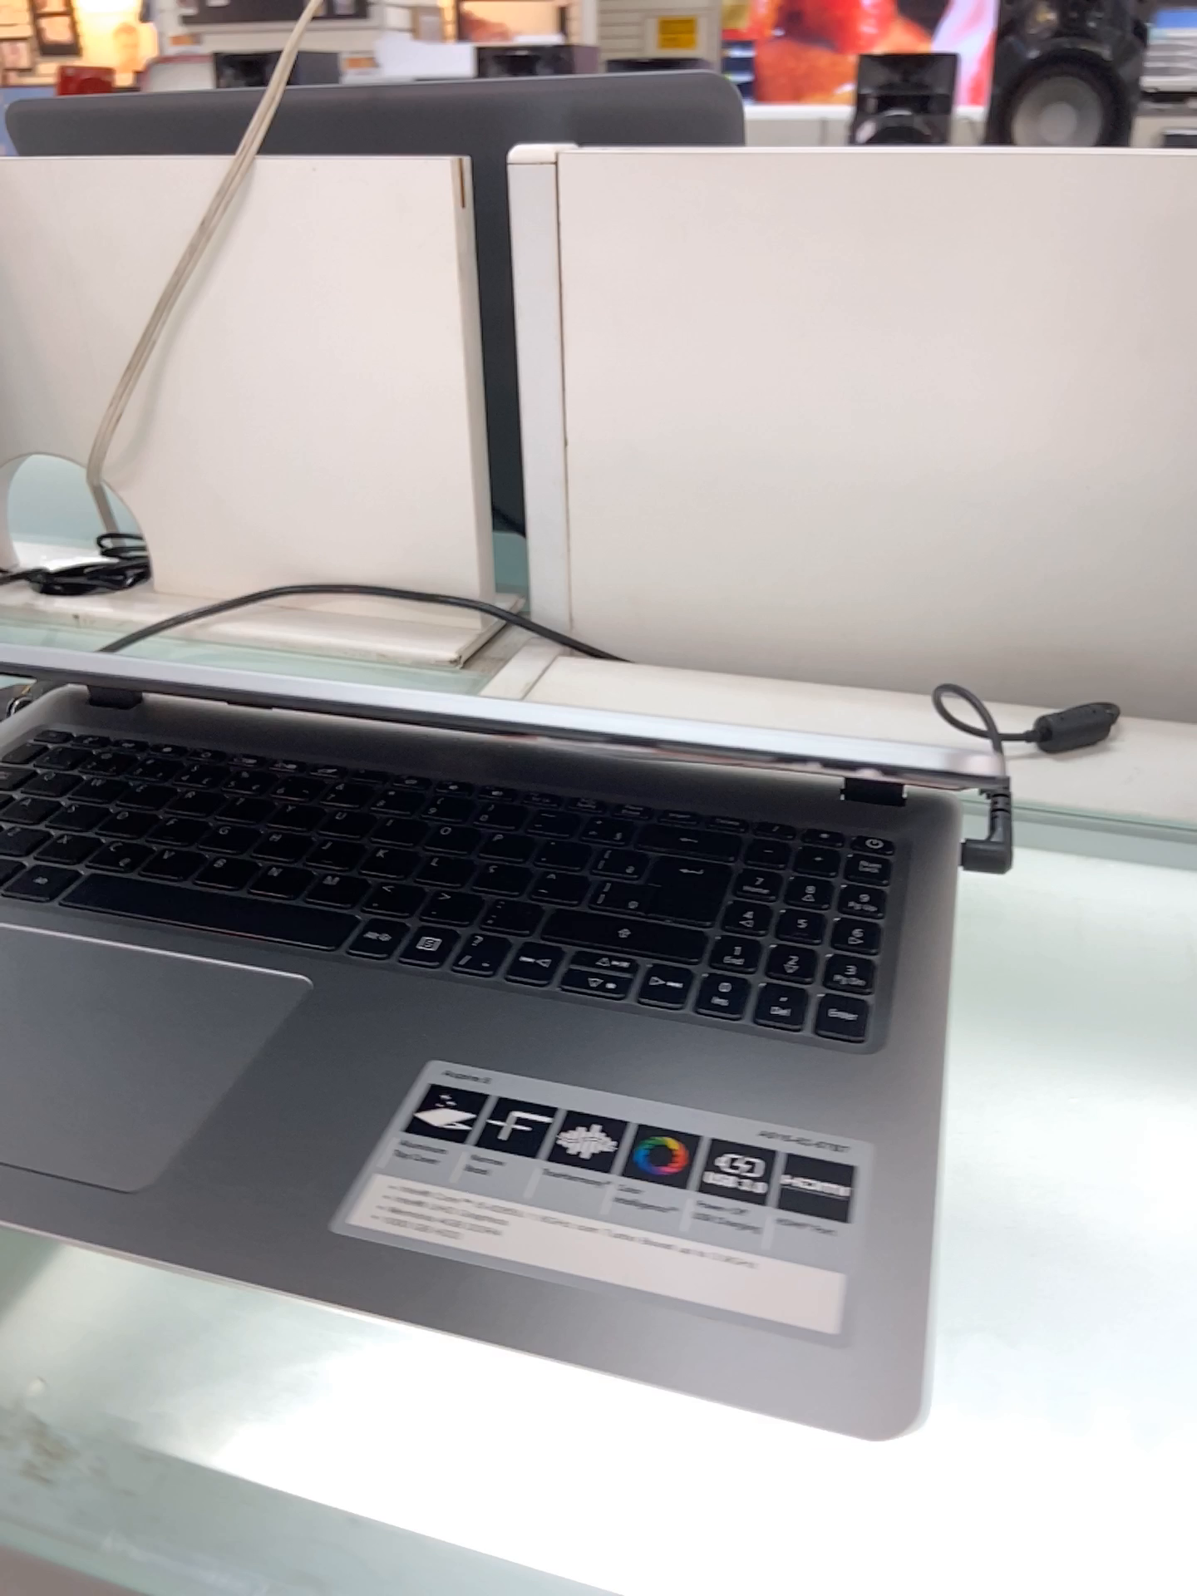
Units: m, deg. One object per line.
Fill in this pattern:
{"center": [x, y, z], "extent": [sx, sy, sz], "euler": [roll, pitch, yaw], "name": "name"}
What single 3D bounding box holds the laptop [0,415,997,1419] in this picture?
{"center": [-0.087, -0.015, 0.346], "extent": [0.364, 0.116, 0.246], "euler": [7, 29, 14], "name": "laptop"}
